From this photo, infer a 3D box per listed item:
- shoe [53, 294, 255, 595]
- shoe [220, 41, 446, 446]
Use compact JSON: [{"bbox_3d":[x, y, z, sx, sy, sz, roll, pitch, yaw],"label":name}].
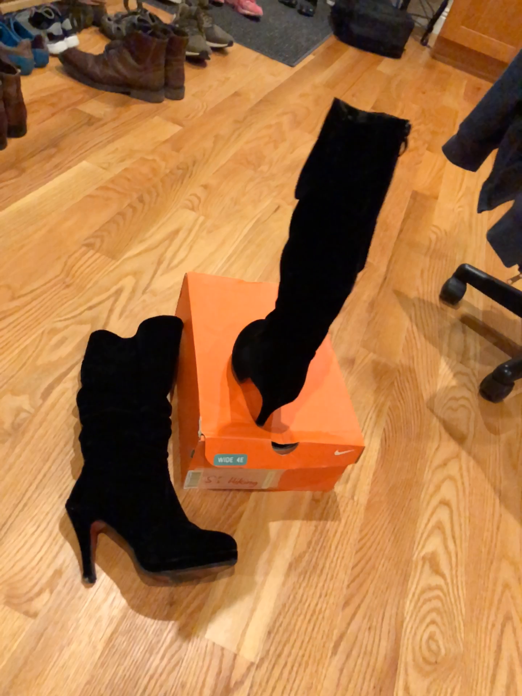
[{"bbox_3d":[-0.148,0.100,0.757,0.206,0.089,0.401,4,44,-17],"label":"shoe"},{"bbox_3d":[0.044,-0.098,0.659,0.089,0.397,0.217,9,43,-14],"label":"shoe"}]
